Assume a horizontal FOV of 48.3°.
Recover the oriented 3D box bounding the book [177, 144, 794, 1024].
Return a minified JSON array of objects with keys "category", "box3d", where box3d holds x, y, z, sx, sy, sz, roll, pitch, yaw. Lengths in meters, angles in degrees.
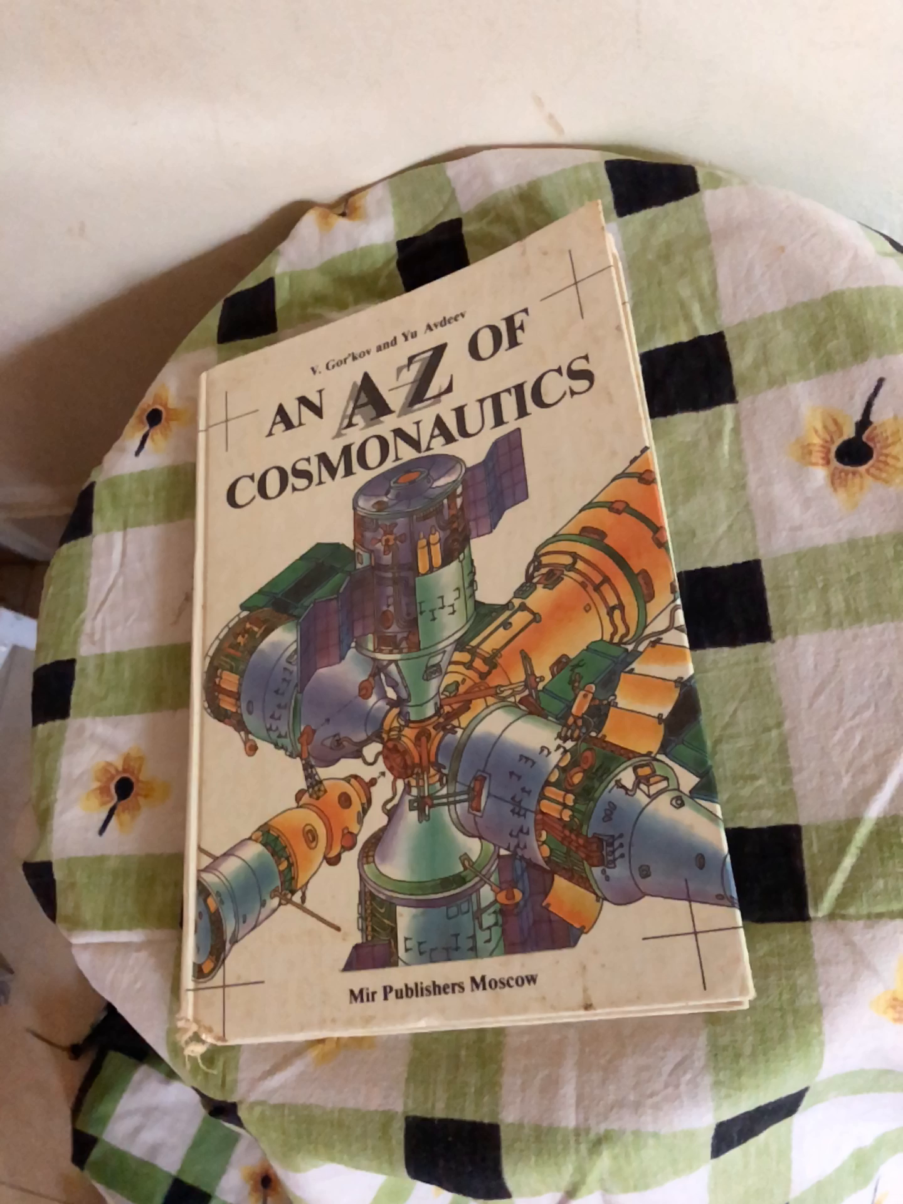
[{"category":"book","box3d":[-0.004,-0.005,0.358,0.180,0.060,0.270,-14,67,20]}]
